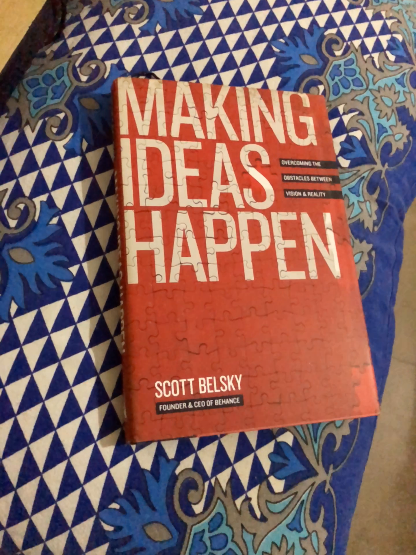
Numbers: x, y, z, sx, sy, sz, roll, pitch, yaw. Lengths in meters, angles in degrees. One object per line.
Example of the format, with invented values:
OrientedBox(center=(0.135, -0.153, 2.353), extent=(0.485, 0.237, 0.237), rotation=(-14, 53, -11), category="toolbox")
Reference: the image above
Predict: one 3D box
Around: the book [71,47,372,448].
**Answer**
OrientedBox(center=(0.000, -0.033, 0.304), extent=(0.160, 0.030, 0.250), rotation=(-3, 72, -15), category="book")
